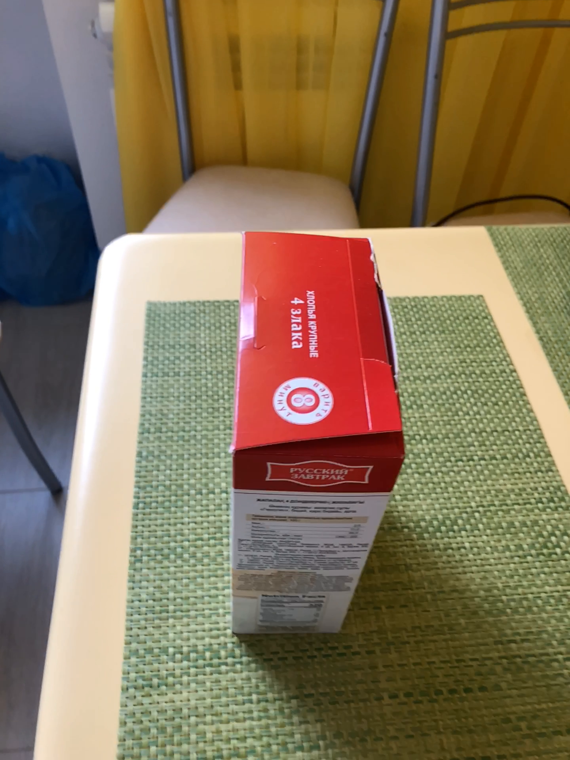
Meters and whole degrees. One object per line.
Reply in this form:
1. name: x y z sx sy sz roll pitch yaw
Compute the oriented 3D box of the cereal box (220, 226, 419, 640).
1. cereal box: 0.007 0.040 0.339 0.070 0.199 0.131 1 50 -3
